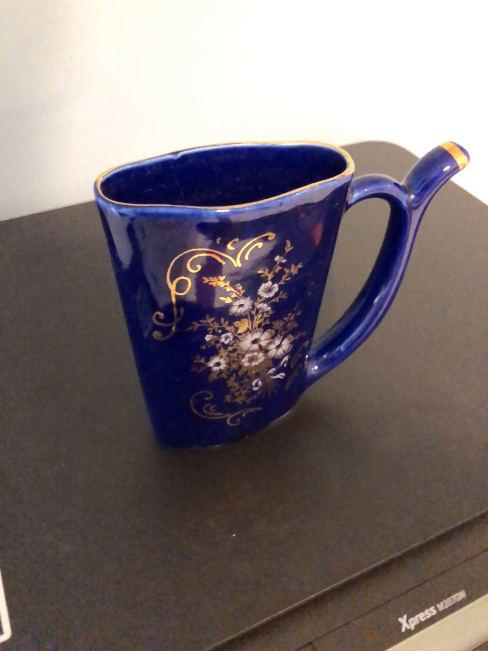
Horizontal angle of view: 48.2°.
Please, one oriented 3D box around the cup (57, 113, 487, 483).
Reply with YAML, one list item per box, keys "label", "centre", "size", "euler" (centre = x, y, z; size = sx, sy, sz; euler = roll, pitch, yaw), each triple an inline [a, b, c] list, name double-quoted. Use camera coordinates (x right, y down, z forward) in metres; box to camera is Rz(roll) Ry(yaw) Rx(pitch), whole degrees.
- label: "cup"
  centre: [0.009, -0.010, 0.214]
  size: [0.130, 0.109, 0.050]
  euler: [-16, 46, -16]
